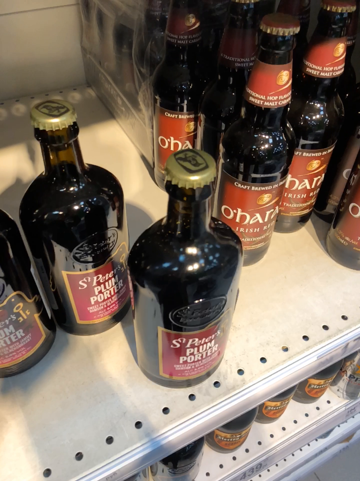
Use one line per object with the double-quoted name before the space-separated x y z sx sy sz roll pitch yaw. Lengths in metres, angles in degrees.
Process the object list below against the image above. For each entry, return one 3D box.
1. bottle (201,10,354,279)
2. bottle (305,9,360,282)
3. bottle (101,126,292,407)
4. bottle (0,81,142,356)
"bottle" 0.070 -0.070 0.364 0.071 0.231 0.070 1 47 -1
"bottle" 0.193 -0.067 0.362 0.074 0.235 0.070 1 47 -1
"bottle" 0.005 0.035 0.282 0.082 0.209 0.058 -17 49 -17
"bottle" -0.088 -0.003 0.324 0.079 0.213 0.070 -27 53 -24
